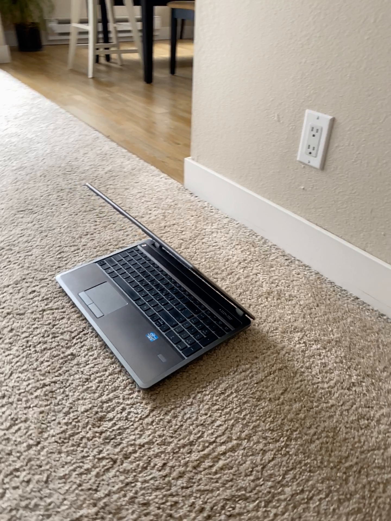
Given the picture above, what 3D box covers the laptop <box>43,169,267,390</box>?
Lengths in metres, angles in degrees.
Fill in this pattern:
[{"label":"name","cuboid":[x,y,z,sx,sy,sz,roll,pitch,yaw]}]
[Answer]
[{"label":"laptop","cuboid":[-0.093,0.003,0.785,0.249,0.189,0.371,-24,43,-30]}]
